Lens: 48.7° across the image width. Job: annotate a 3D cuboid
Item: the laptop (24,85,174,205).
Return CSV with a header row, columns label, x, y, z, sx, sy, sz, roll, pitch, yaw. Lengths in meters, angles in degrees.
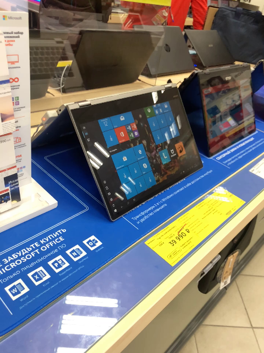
label,x,y,z,sx,sy,sz,roll,pitch,yaw
laptop,-0.088,-0.078,0.770,0.210,0.150,0.337,1,19,46
